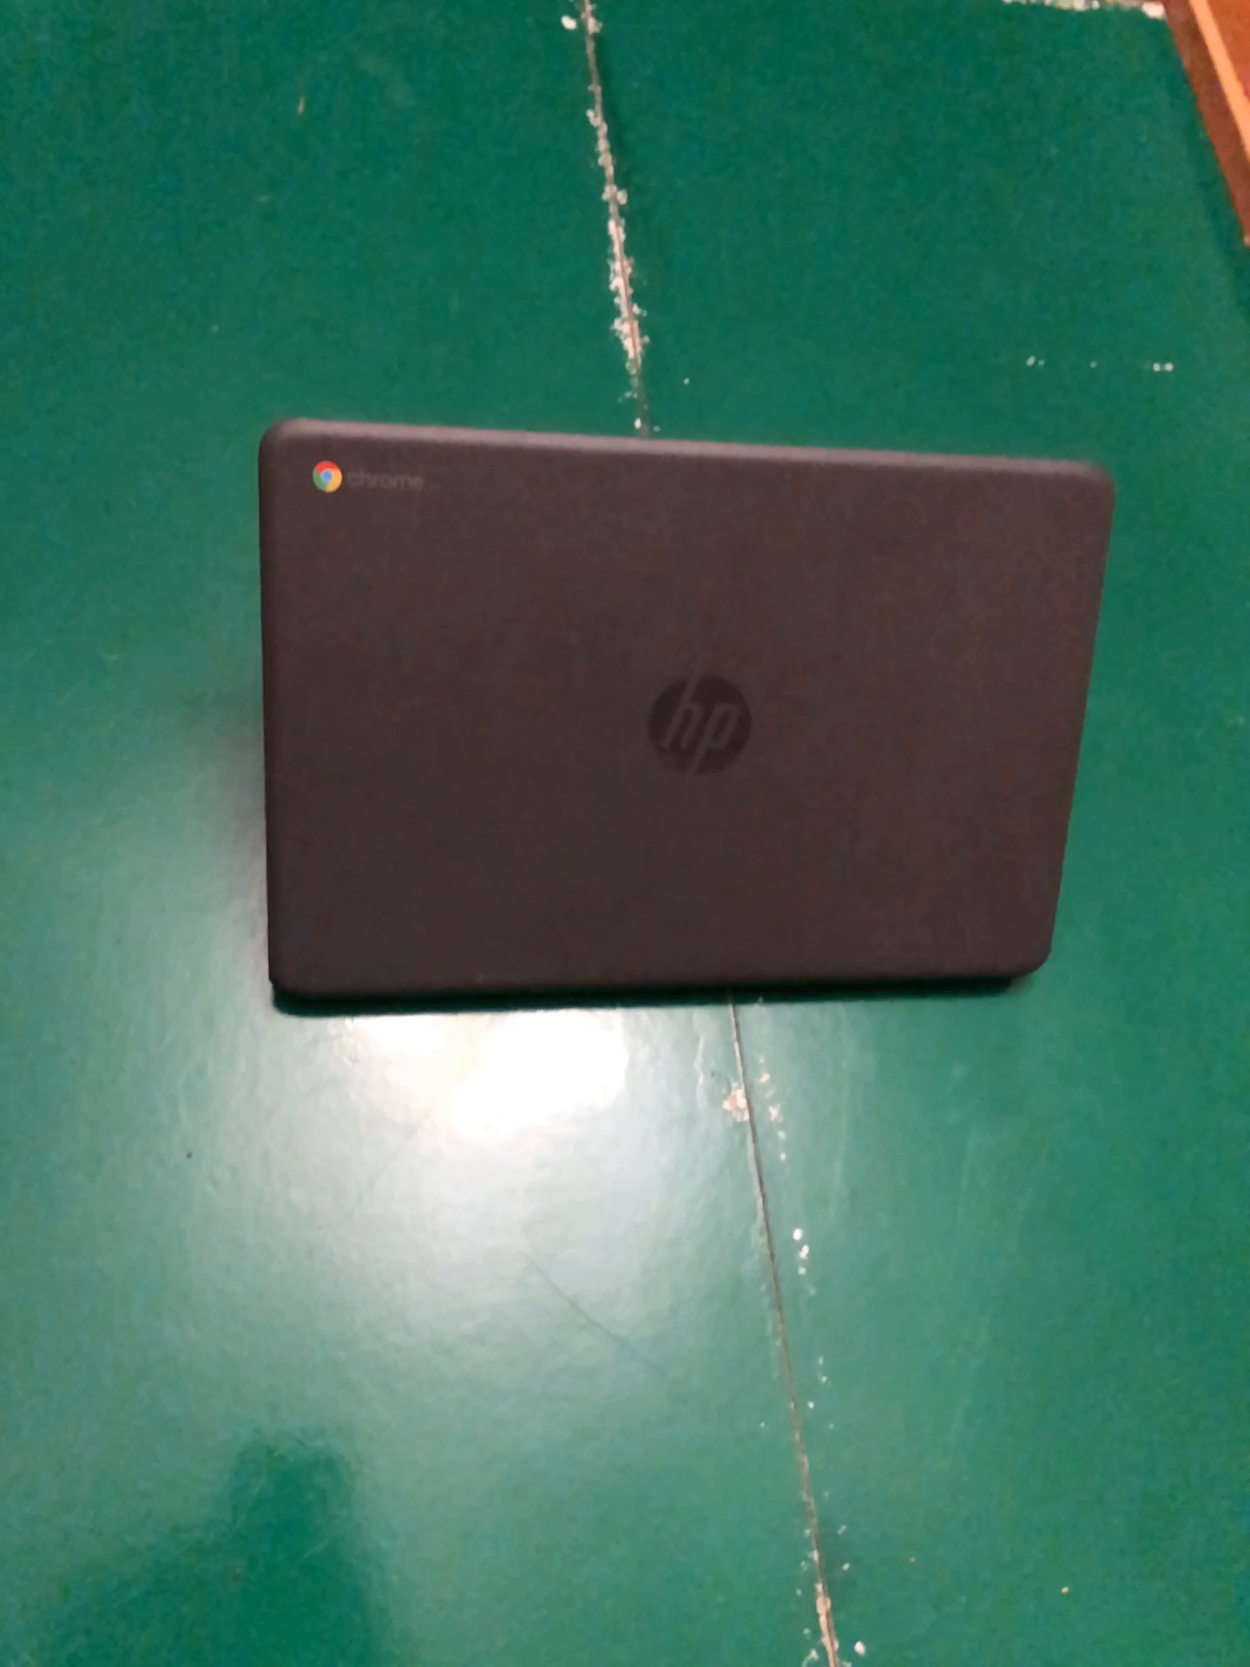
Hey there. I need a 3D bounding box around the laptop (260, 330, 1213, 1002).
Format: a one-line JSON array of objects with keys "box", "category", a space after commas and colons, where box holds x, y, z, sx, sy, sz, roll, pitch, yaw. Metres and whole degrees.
[{"box": [0.025, -0.057, 0.547, 0.316, 0.144, 0.208, 0, 66, -11], "category": "laptop"}]
